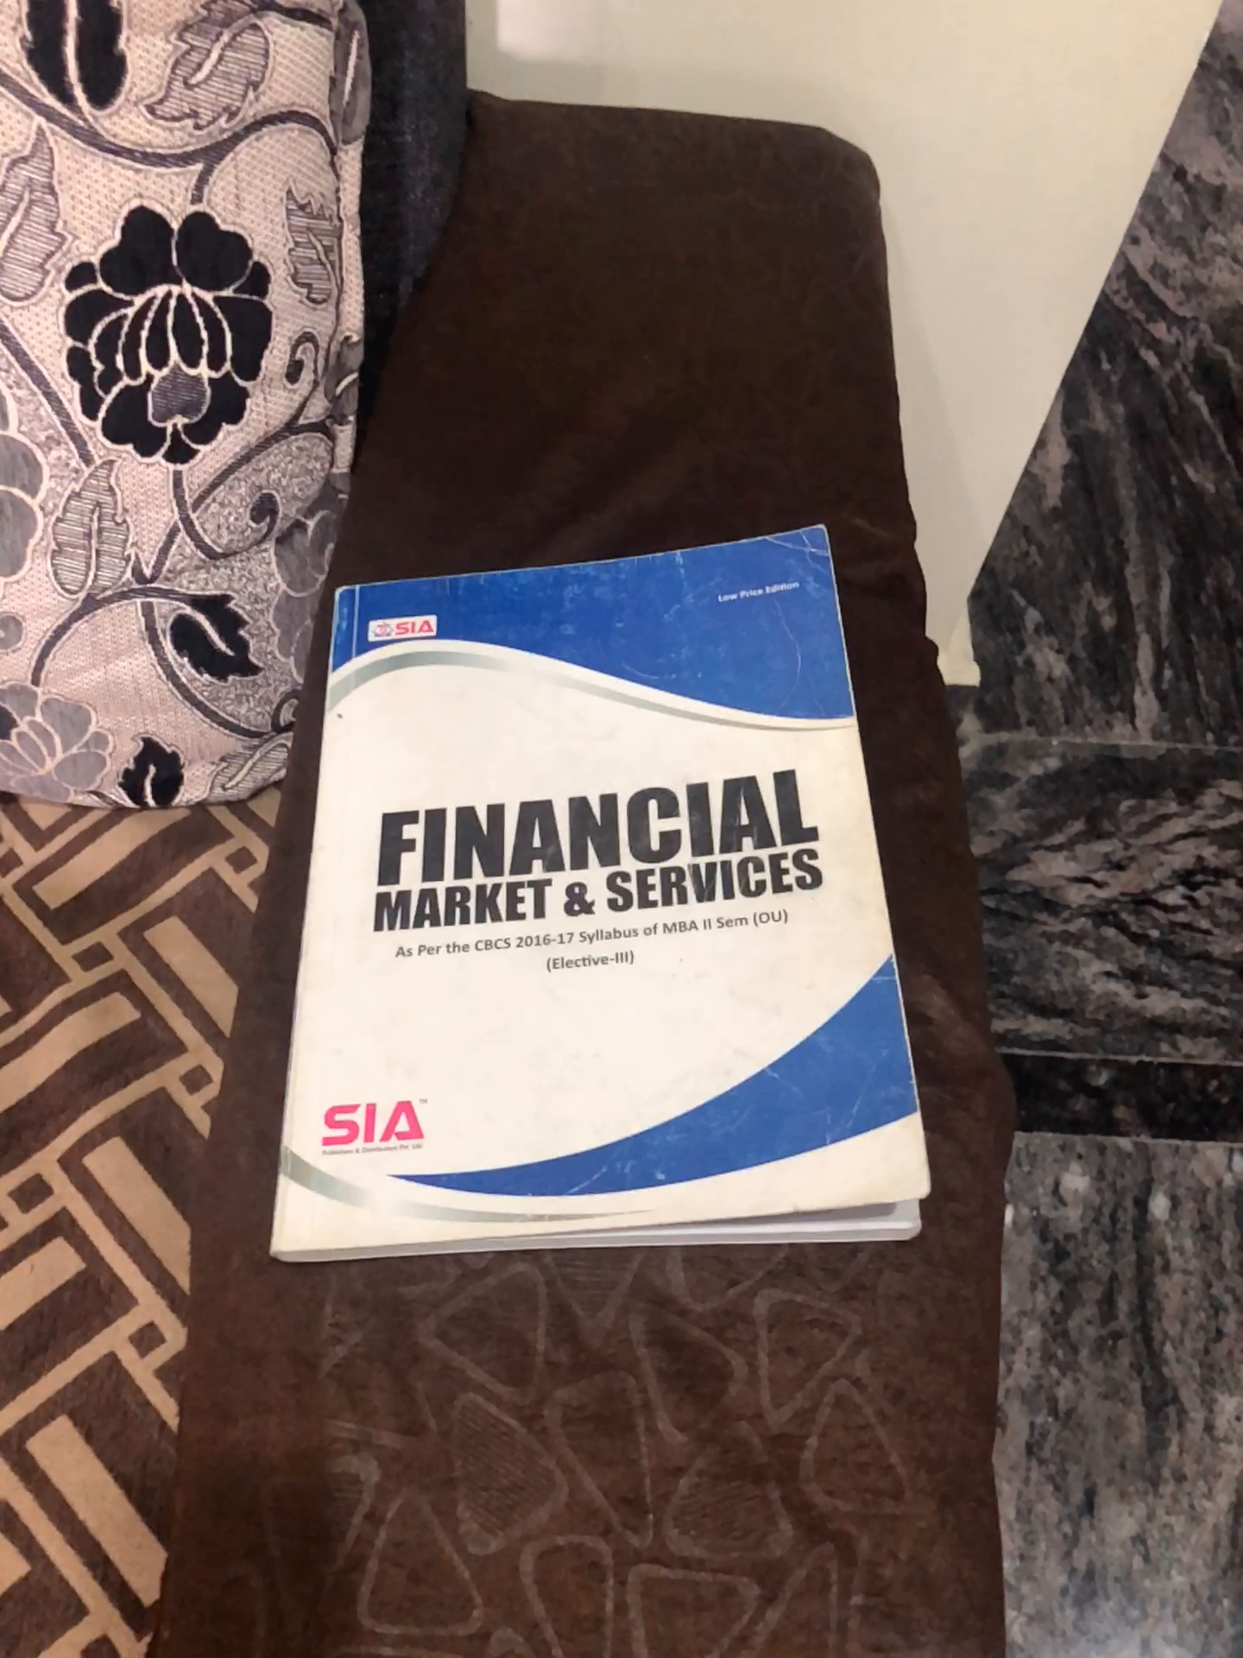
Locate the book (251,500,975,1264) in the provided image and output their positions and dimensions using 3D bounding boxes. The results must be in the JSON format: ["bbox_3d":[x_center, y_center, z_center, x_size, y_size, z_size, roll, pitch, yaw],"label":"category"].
[{"bbox_3d":[-0.011,-0.001,0.513,0.220,0.040,0.301,-2,57,-5],"label":"book"}]
